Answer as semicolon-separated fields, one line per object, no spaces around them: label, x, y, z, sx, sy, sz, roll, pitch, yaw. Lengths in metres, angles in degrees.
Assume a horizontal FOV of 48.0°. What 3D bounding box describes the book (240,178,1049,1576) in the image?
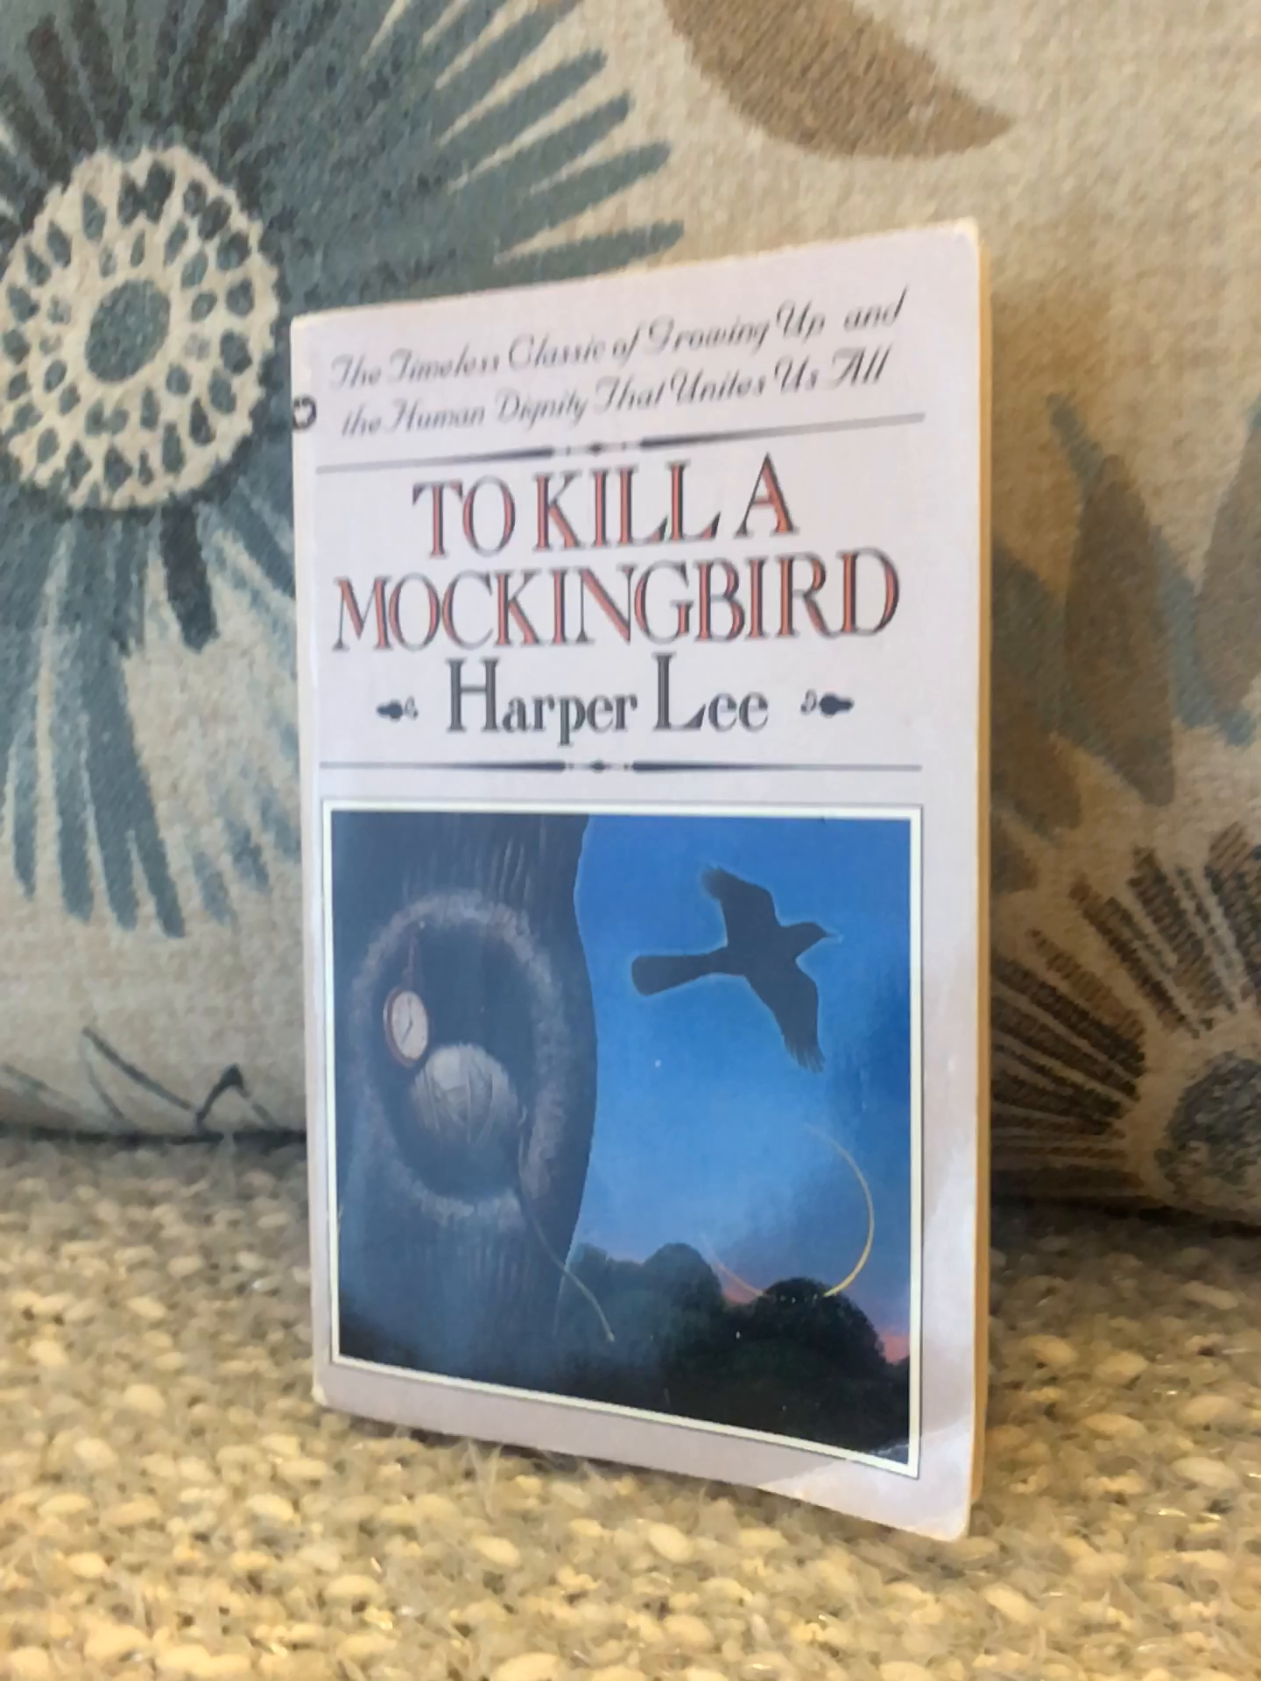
book;0.000;0.004;0.206;0.112;0.166;0.033;1;3;24
